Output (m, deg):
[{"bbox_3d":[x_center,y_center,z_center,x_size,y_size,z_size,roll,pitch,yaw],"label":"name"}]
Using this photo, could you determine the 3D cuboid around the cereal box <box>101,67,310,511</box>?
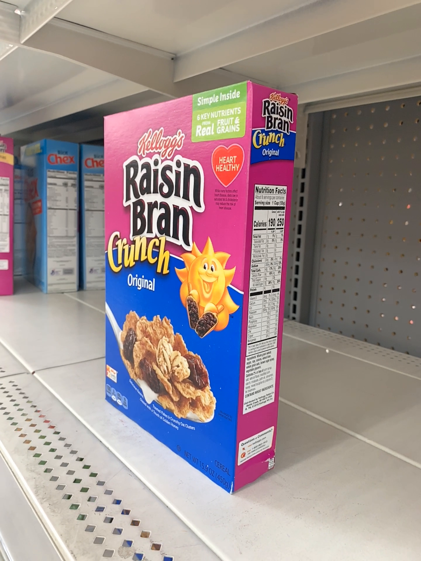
[{"bbox_3d":[-0.024,-0.001,0.362,0.050,0.279,0.200,-5,12,-39],"label":"cereal box"}]
